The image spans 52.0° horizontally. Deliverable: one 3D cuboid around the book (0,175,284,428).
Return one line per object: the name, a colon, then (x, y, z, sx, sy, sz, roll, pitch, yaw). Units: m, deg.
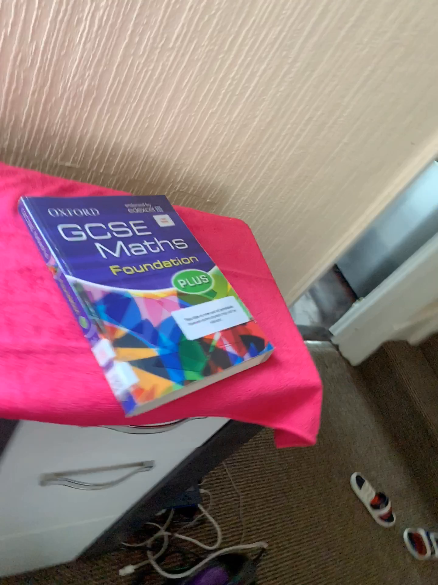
book: (-0.079, -0.018, 0.496, 0.211, 0.030, 0.281, -12, 59, -47)
